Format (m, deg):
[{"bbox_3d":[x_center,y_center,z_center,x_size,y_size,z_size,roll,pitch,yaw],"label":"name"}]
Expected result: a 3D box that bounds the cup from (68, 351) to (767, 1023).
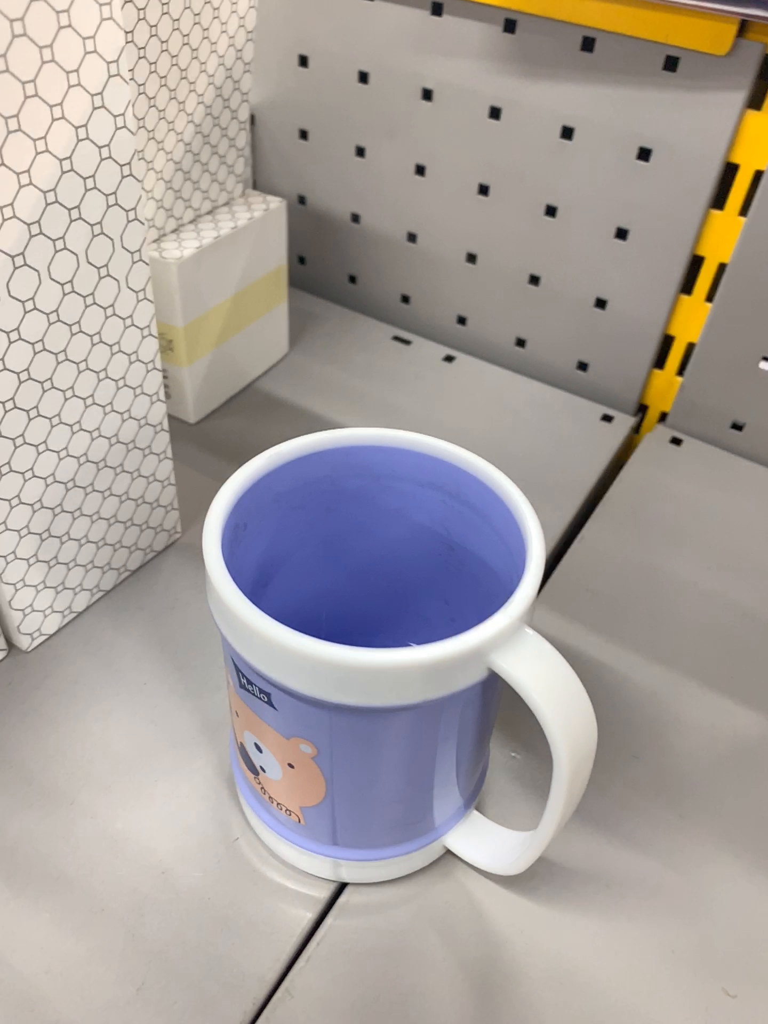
[{"bbox_3d":[0.004,0.042,0.204,0.120,0.100,0.090,32,48,25],"label":"cup"}]
